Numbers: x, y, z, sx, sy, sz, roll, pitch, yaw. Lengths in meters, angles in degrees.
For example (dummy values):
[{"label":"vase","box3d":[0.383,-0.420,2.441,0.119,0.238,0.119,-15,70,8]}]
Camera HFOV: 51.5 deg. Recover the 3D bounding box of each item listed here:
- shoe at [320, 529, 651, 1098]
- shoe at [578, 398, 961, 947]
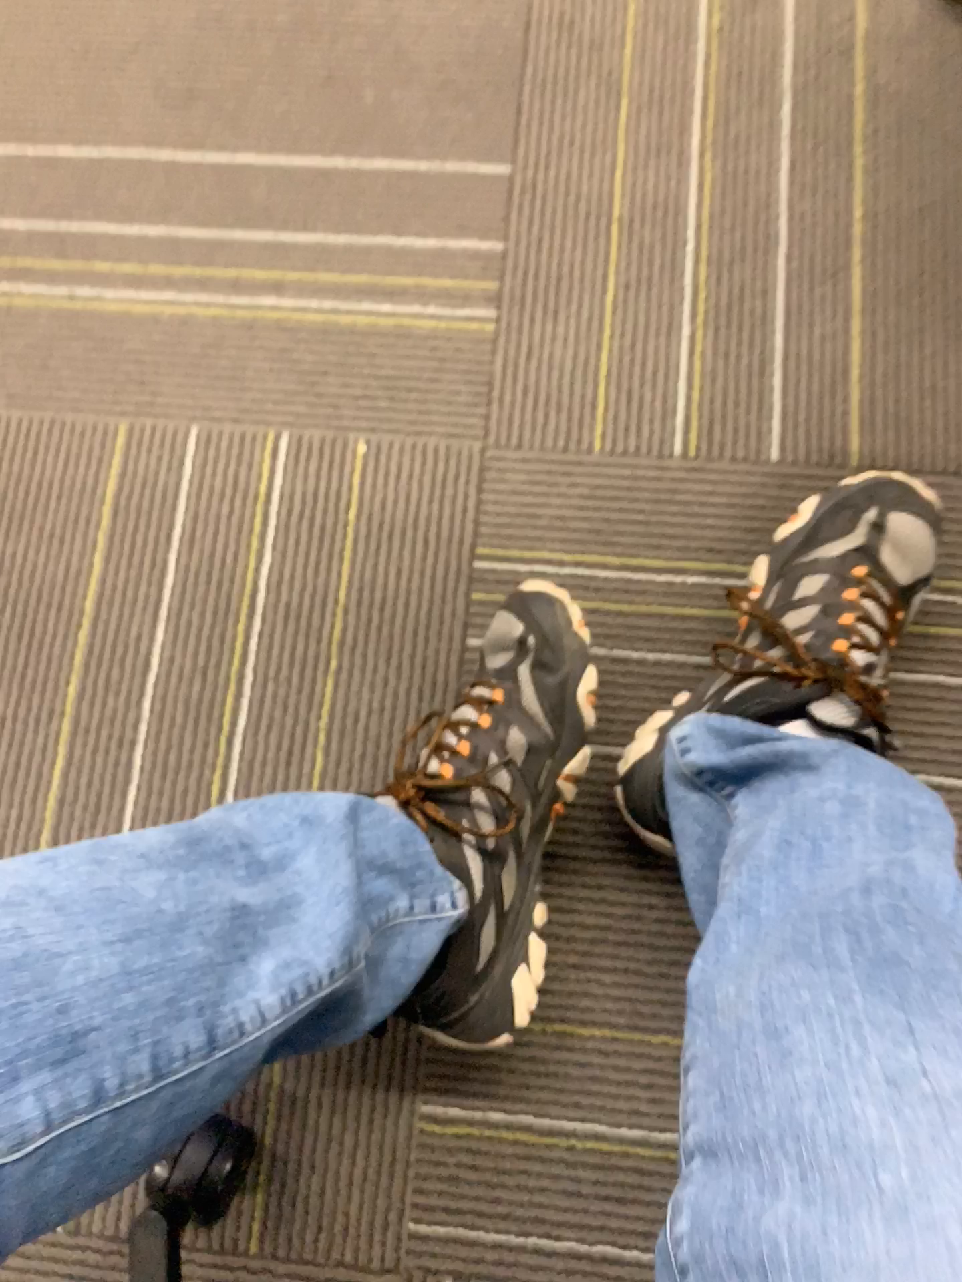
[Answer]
[{"label":"shoe","box3d":[0.003,0.105,0.655,0.127,0.119,0.325,12,84,-34]},{"label":"shoe","box3d":[0.225,0.019,0.660,0.119,0.119,0.325,32,87,45]}]
